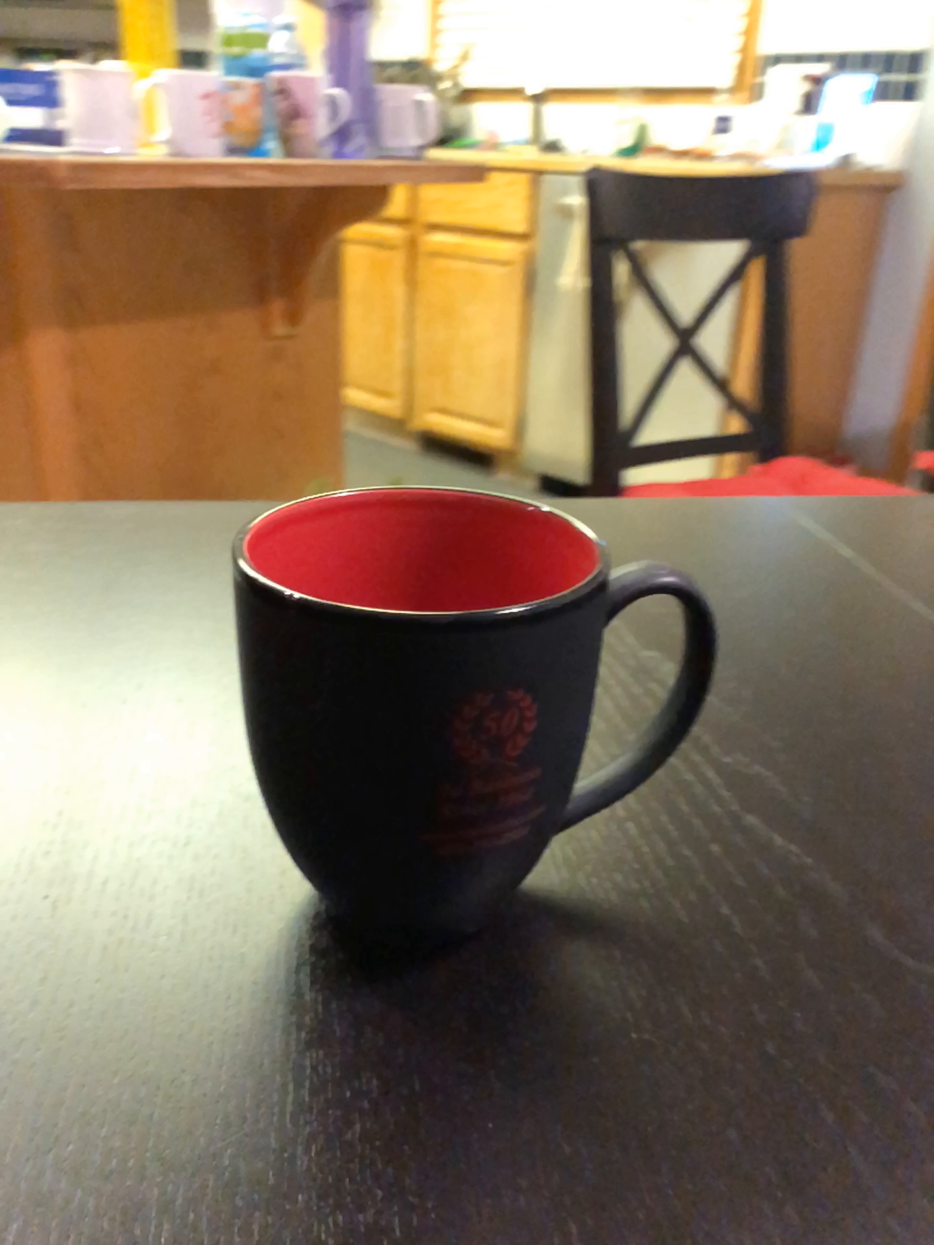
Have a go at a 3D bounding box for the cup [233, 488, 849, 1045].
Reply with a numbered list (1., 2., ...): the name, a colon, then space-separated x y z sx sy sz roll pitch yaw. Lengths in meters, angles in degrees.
1. cup: 0.008 0.031 0.297 0.140 0.109 0.100 -3 25 -12
